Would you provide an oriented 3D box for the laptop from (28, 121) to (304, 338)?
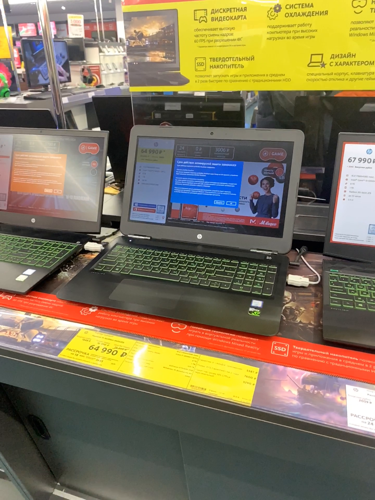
[{"bbox_3d":[0.003,-0.084,0.725,0.384,0.223,0.380,7,29,16],"label":"laptop"}]
